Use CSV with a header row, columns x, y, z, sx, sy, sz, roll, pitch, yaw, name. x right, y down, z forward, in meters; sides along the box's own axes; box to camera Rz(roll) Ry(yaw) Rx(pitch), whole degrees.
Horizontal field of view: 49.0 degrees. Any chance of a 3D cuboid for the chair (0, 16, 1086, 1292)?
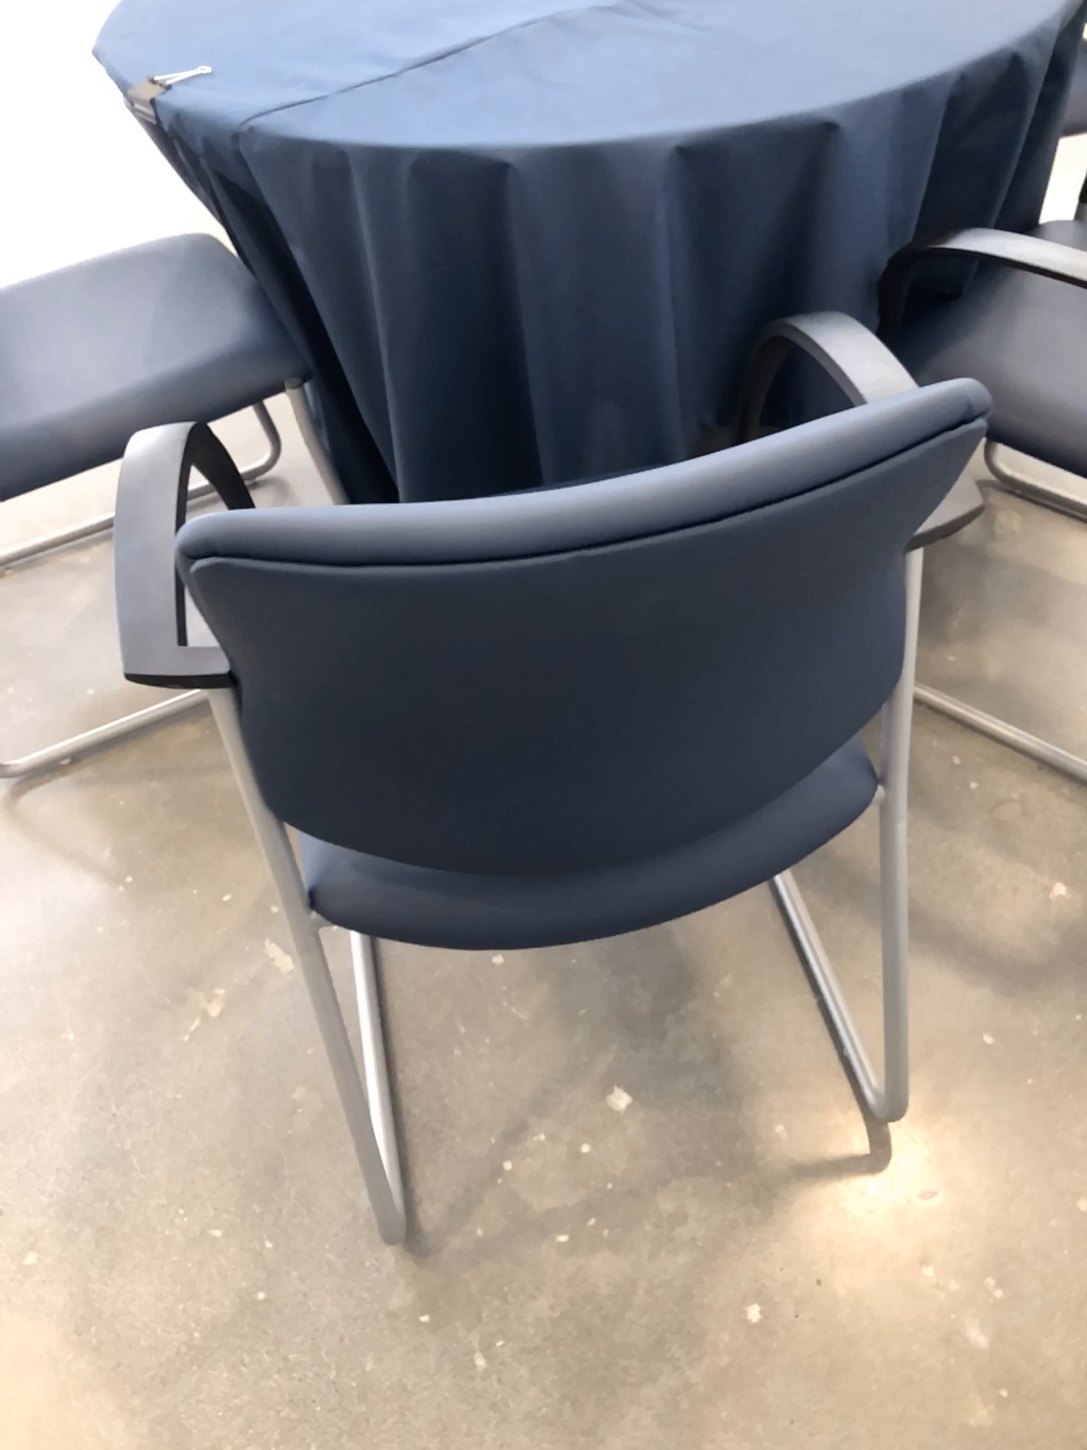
x,y,z,sx,sy,sz,roll,pitch,yaw,name
-0.013,-0.055,1.058,0.640,0.765,0.674,-12,46,-5,chair
